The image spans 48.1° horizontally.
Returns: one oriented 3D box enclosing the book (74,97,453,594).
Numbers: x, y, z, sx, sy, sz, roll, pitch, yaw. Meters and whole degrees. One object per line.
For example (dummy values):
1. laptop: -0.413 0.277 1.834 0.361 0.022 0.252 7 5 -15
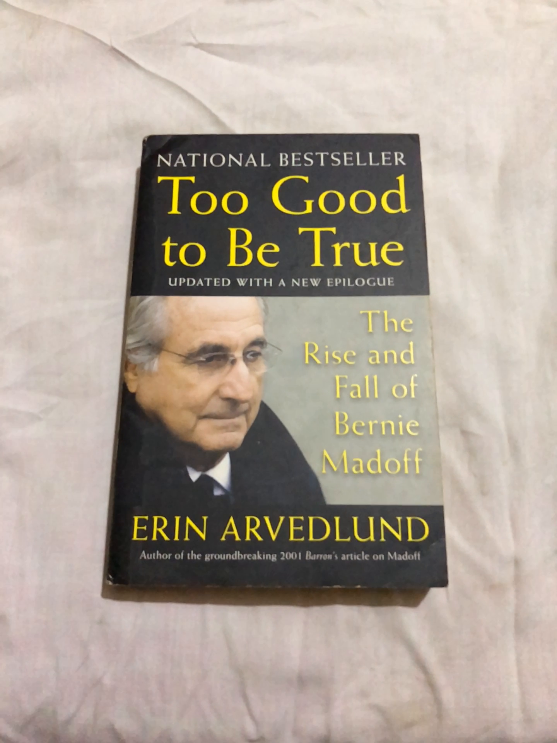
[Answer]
1. book: -0.006 -0.019 0.293 0.150 0.030 0.230 -1 74 3
